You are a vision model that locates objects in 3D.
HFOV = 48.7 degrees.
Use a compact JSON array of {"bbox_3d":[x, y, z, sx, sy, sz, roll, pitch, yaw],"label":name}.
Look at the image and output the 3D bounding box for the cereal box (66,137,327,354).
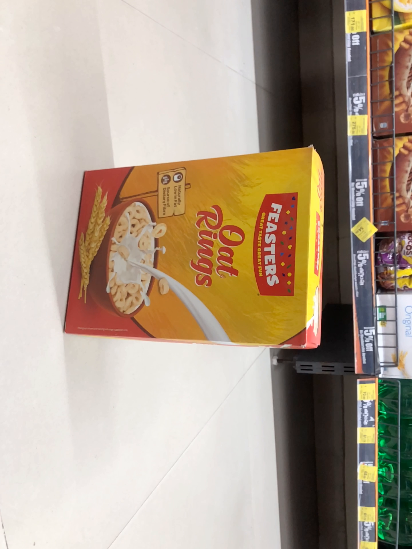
[{"bbox_3d":[-0.006,-0.019,0.422,0.070,0.219,0.170,33,59,-65],"label":"cereal box"}]
